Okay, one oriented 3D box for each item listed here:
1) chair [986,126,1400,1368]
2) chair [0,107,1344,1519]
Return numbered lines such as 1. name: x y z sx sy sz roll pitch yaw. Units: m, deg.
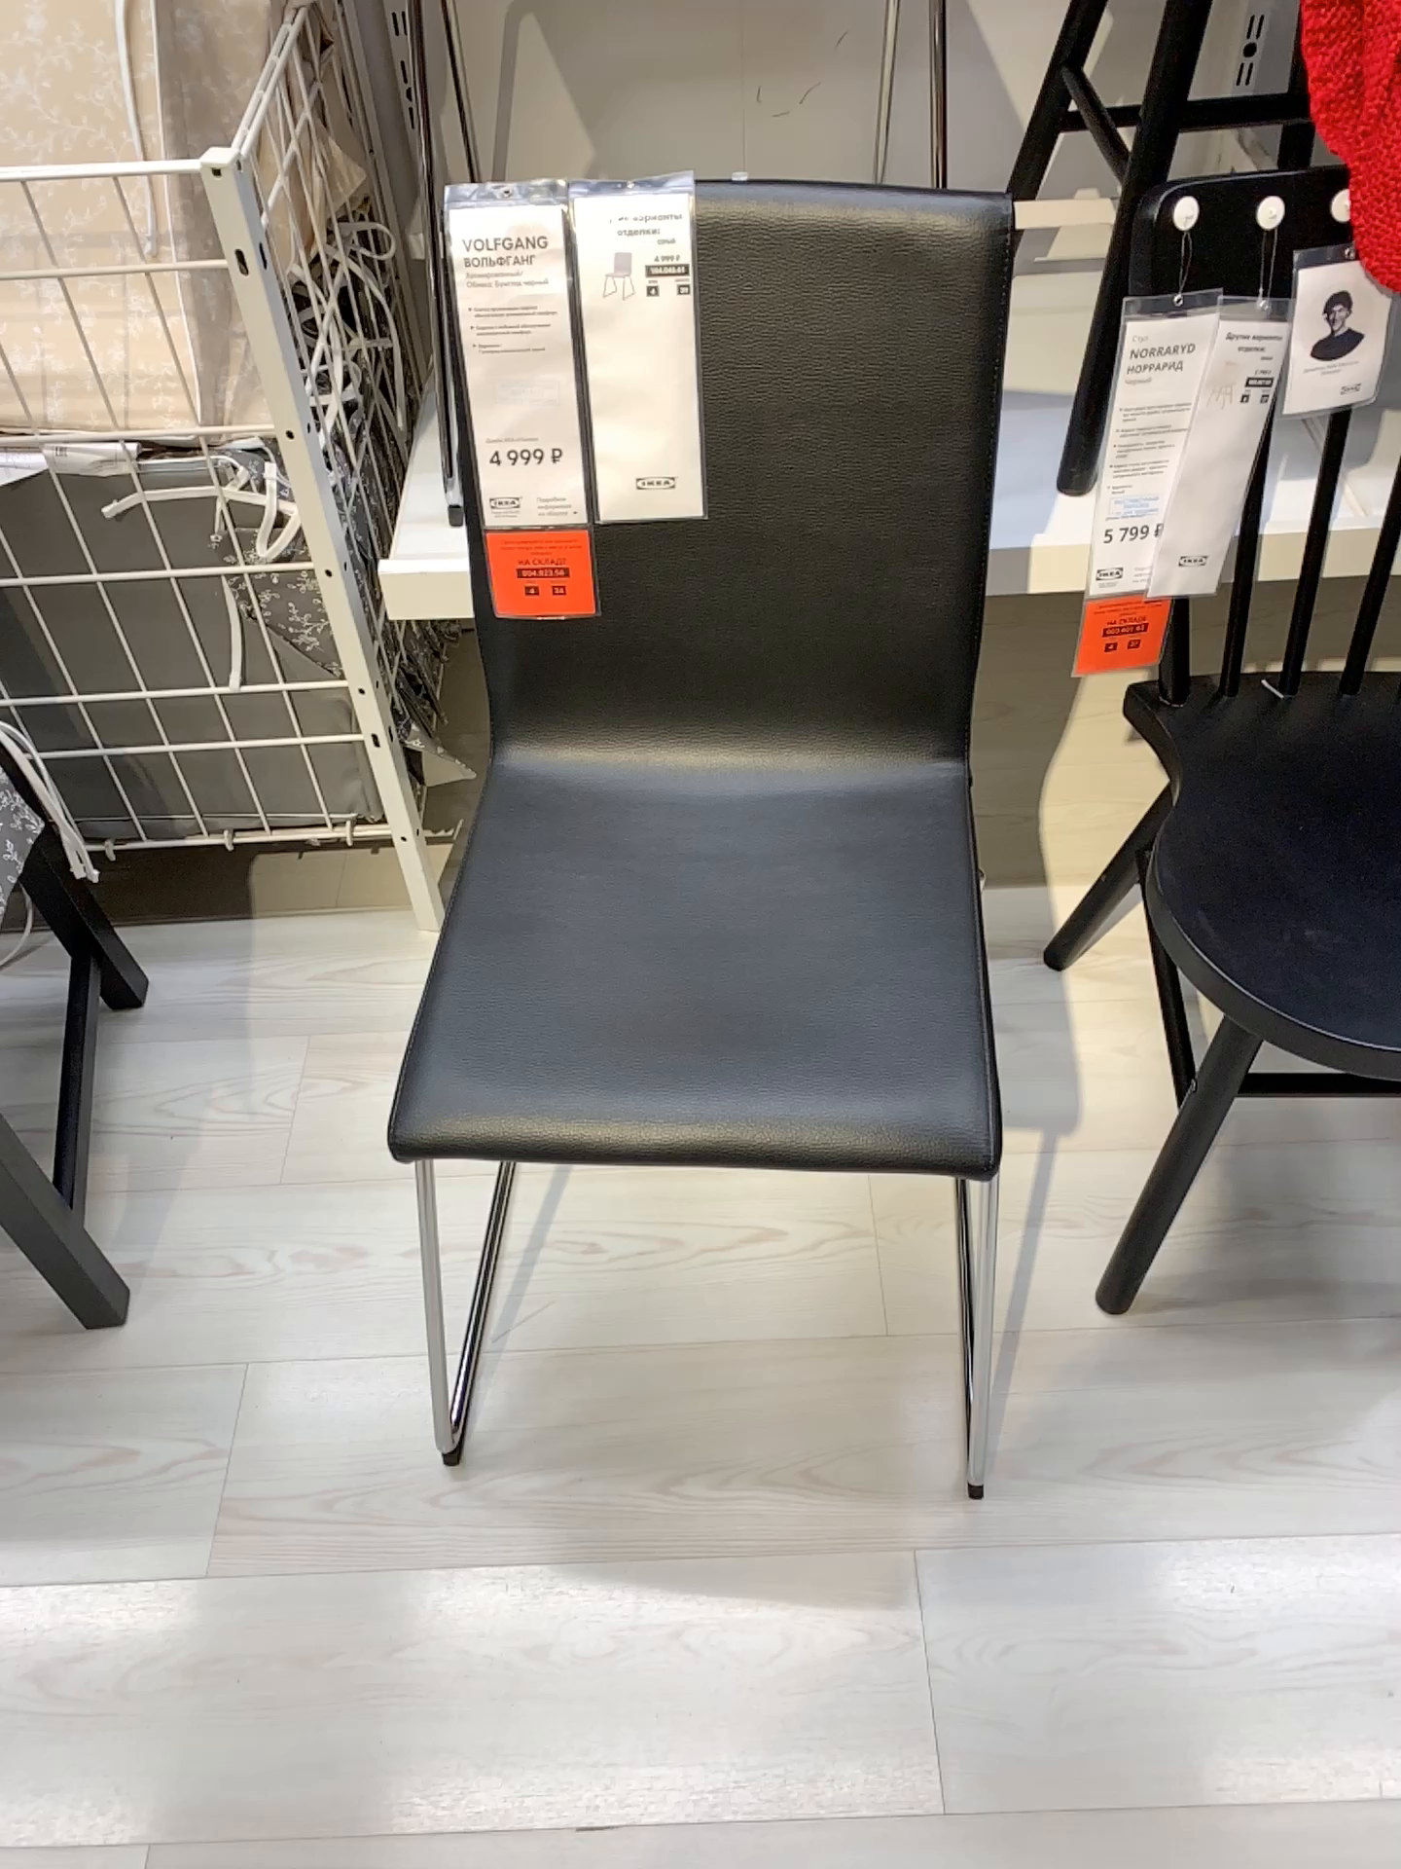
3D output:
1. chair: 0.561 -0.111 1.177 0.471 0.799 0.601 -2 48 1
2. chair: 0.010 -0.035 1.083 0.531 0.869 0.611 1 48 4
